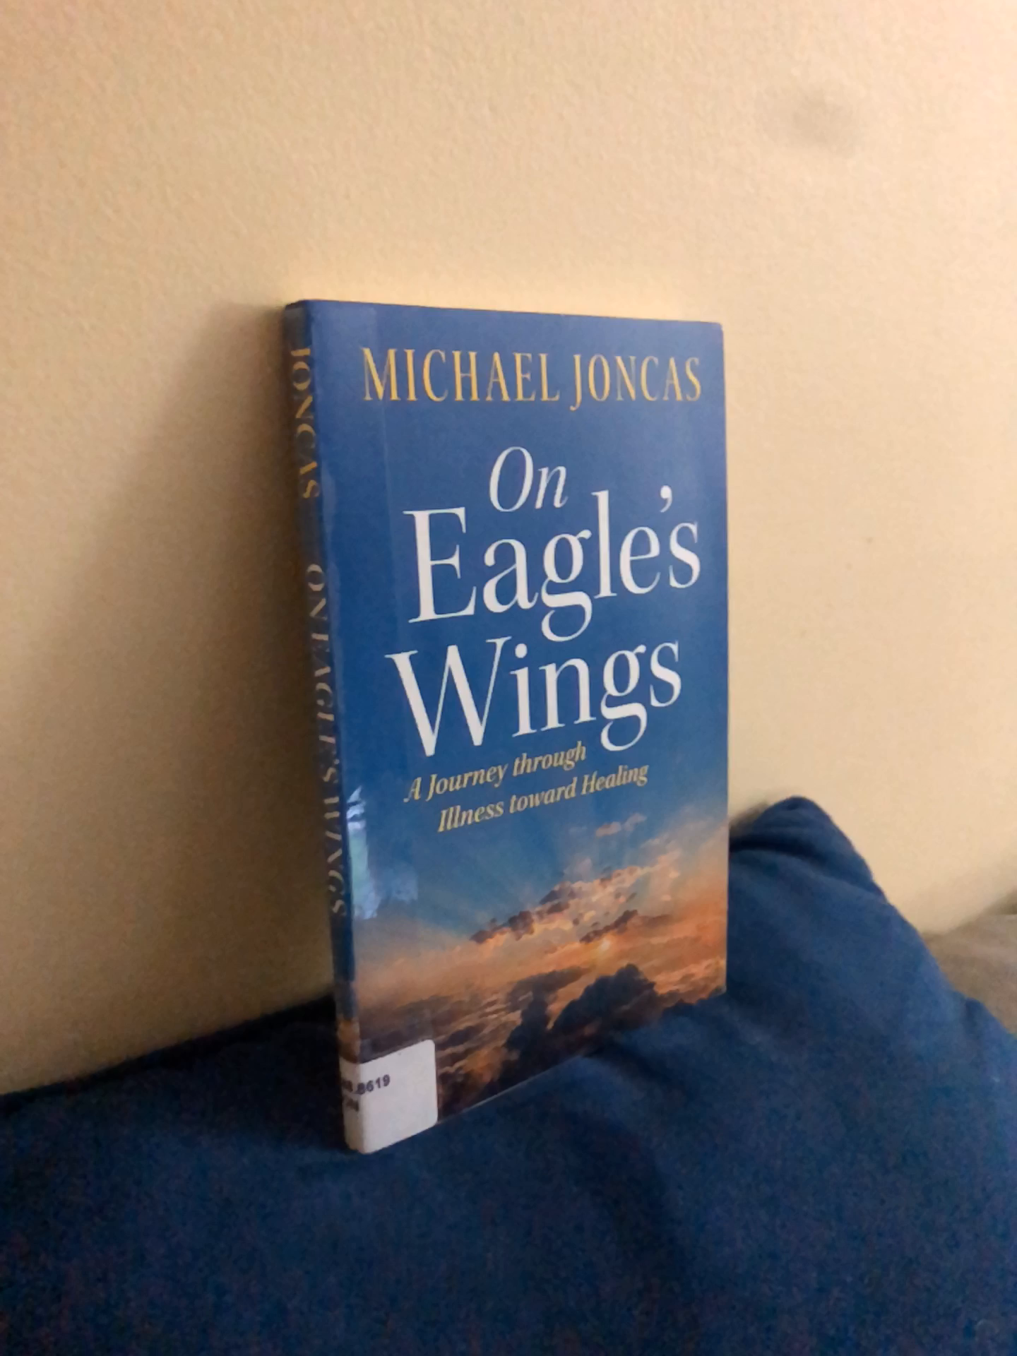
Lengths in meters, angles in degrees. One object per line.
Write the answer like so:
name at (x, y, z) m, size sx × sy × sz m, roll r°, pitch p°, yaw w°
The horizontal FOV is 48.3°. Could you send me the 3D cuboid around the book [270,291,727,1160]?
book at (0.008, 0.007, 0.317) m, size 0.140 × 0.210 × 0.014 m, roll -10°, pitch 12°, yaw -38°
